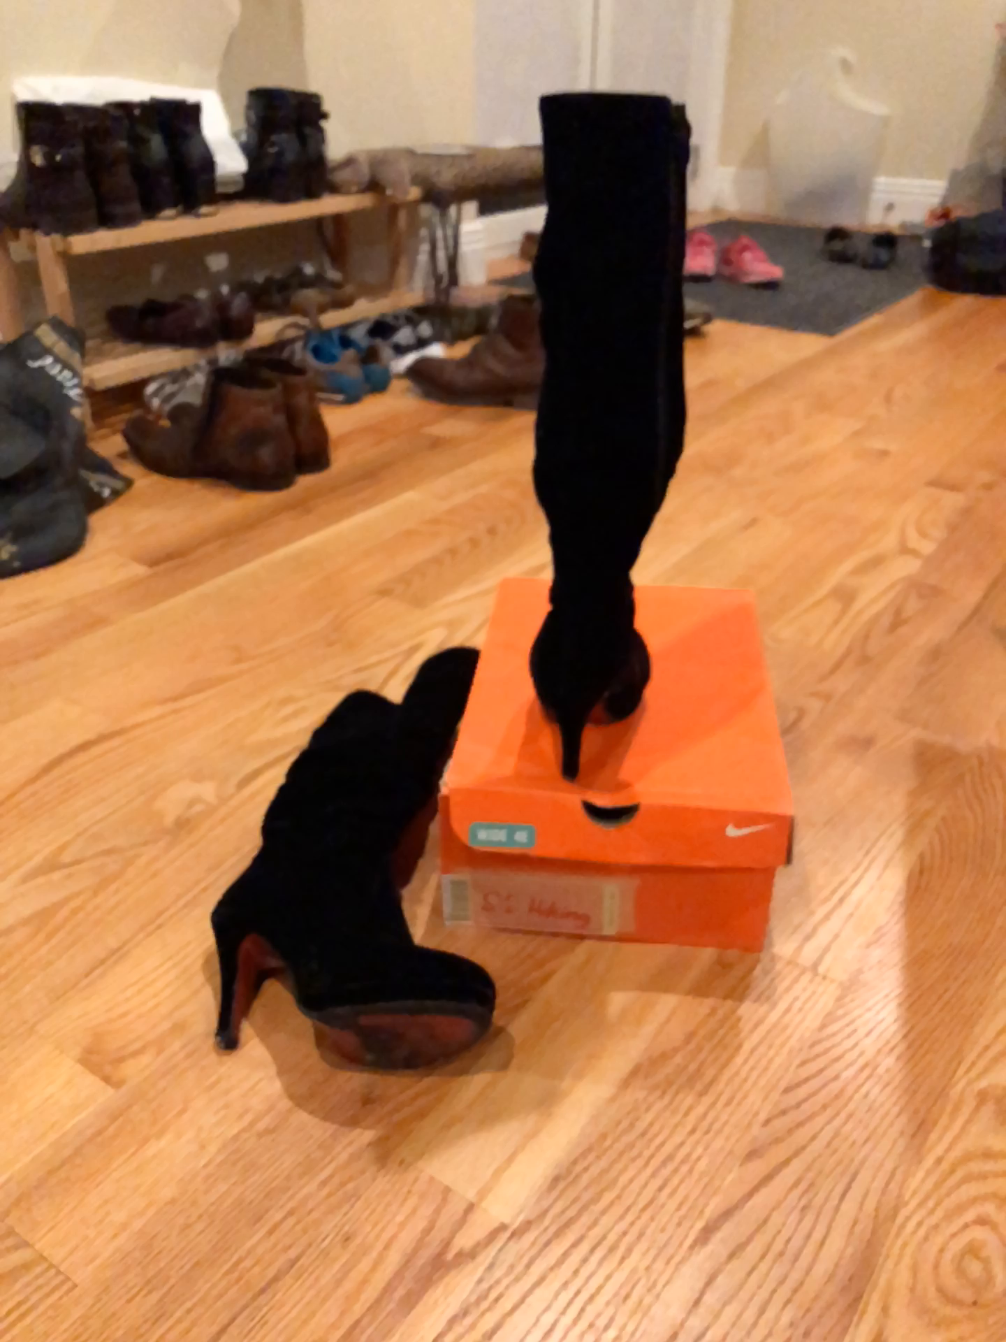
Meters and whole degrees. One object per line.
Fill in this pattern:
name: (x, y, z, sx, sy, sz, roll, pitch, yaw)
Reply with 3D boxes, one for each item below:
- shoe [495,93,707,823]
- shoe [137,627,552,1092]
shoe: (0.061, -0.135, 0.705, 0.089, 0.397, 0.217, 6, 30, 9)
shoe: (-0.079, 0.102, 0.804, 0.206, 0.089, 0.401, 2, 29, 5)
